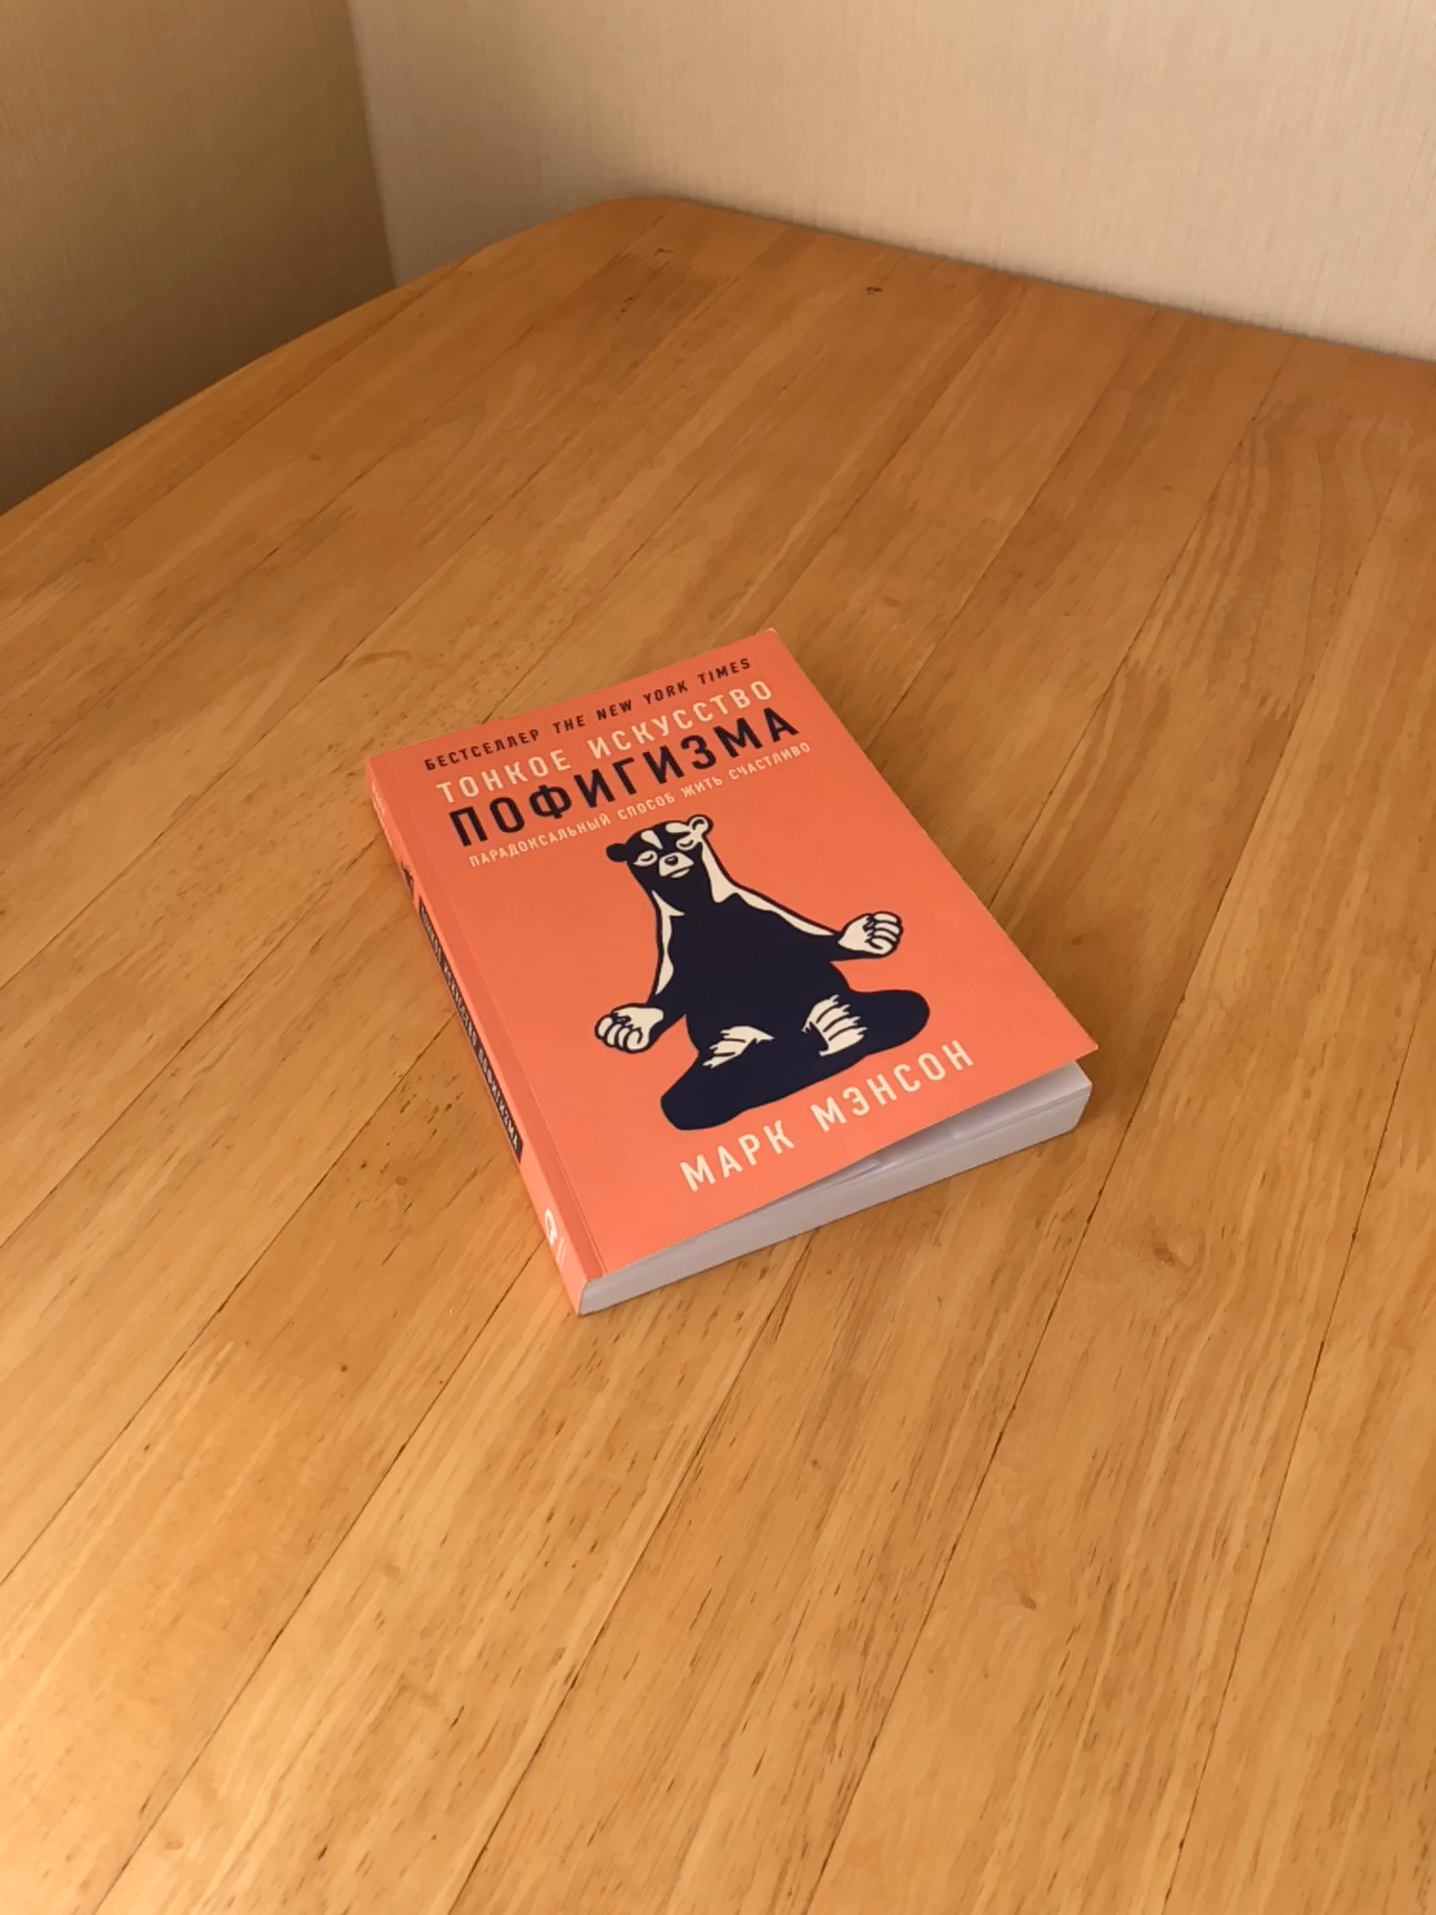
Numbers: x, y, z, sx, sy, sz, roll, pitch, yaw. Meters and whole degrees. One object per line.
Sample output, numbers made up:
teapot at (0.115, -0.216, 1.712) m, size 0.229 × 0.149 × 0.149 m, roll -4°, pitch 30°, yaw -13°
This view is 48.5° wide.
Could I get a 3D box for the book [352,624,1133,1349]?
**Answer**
book at (-0.003, -0.007, 0.445) m, size 0.143 × 0.033 × 0.197 m, roll -19°, pitch 51°, yaw -15°
